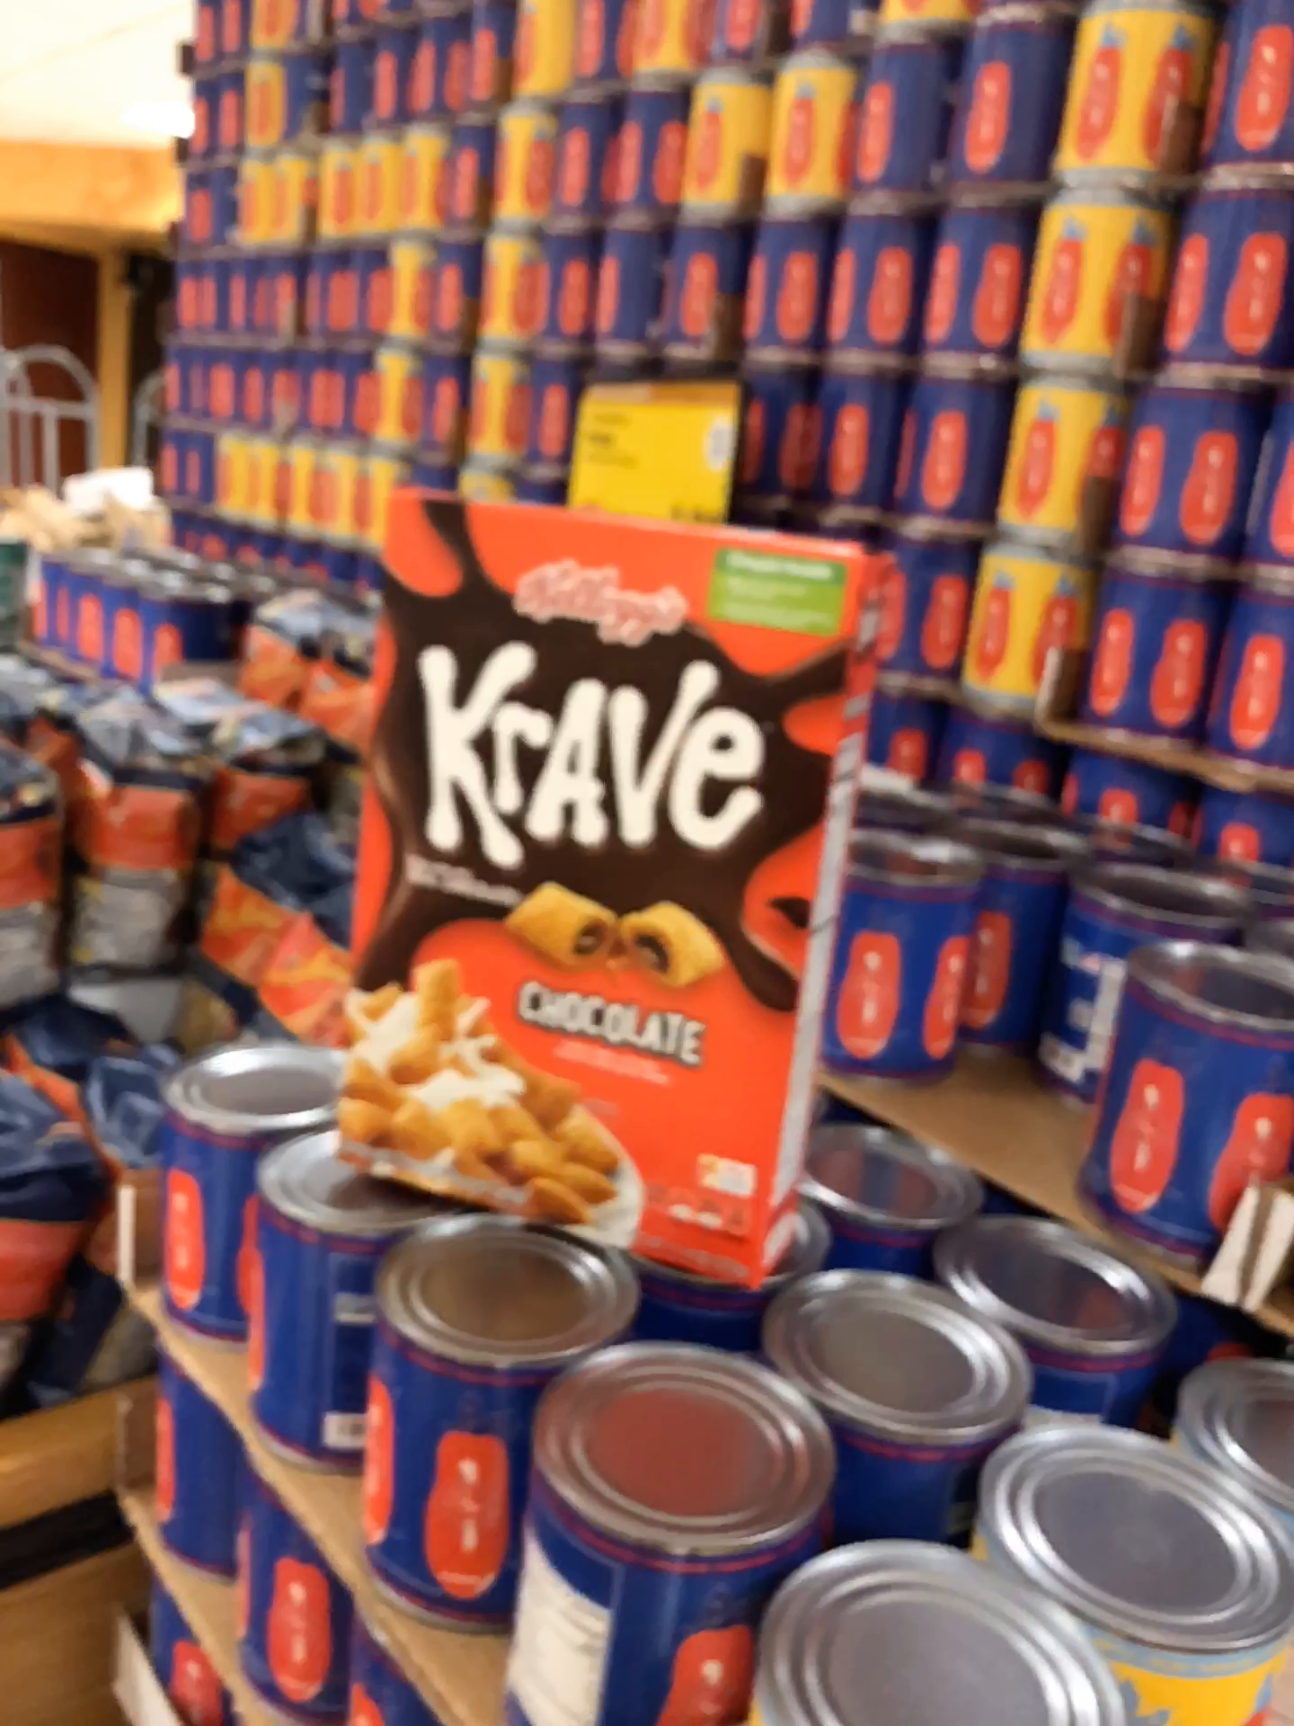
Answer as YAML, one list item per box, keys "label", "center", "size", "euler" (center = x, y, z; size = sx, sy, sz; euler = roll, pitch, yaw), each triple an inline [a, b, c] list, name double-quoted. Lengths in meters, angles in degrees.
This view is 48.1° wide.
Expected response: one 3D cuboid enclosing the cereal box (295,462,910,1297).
- label: "cereal box"
  center: [-0.026, 0.000, 0.583]
  size: [0.210, 0.289, 0.060]
  euler: [12, 14, 19]
